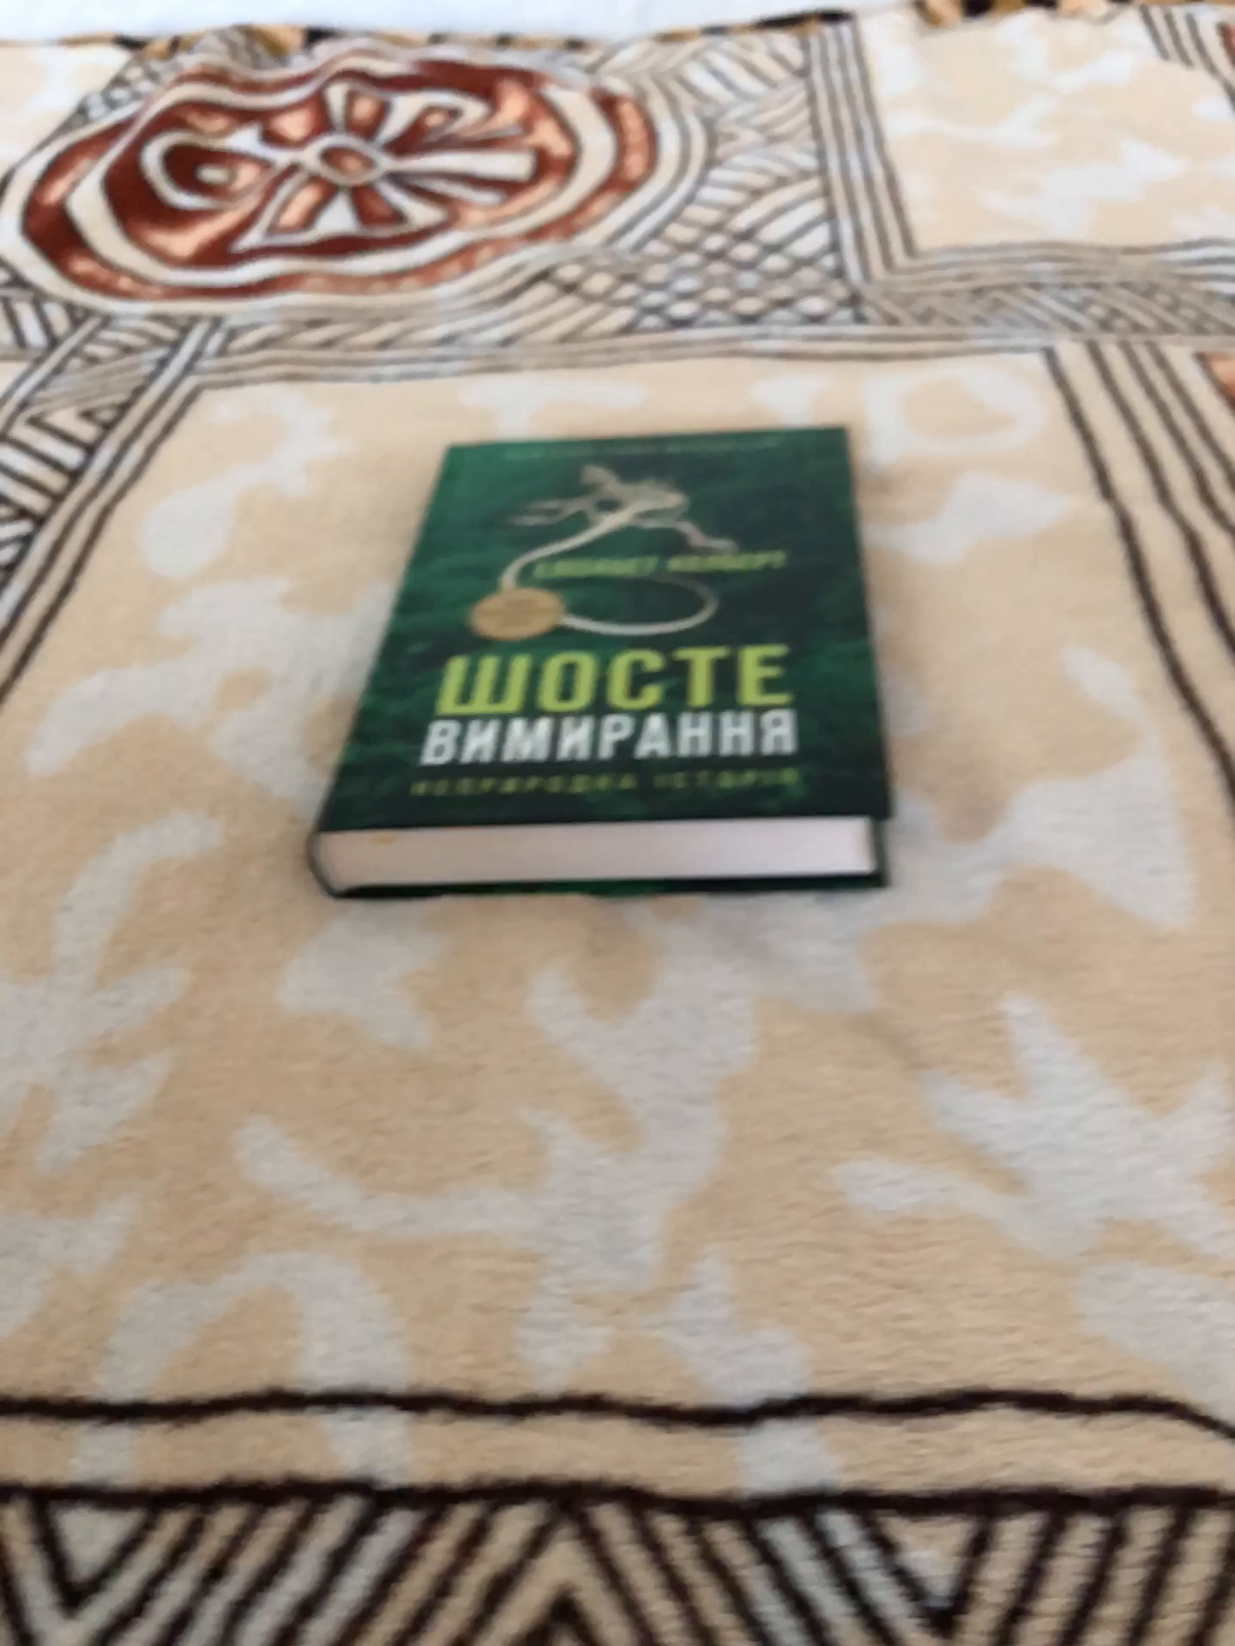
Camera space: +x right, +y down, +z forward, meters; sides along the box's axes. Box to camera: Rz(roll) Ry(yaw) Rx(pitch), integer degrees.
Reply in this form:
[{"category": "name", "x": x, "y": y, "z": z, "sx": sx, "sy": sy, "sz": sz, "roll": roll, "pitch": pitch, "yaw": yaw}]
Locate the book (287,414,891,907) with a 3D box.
[{"category": "book", "x": 0.000, "y": -0.063, "z": 0.433, "sx": 0.150, "sy": 0.030, "sz": 0.221, "roll": -1, "pitch": 40, "yaw": 7}]
